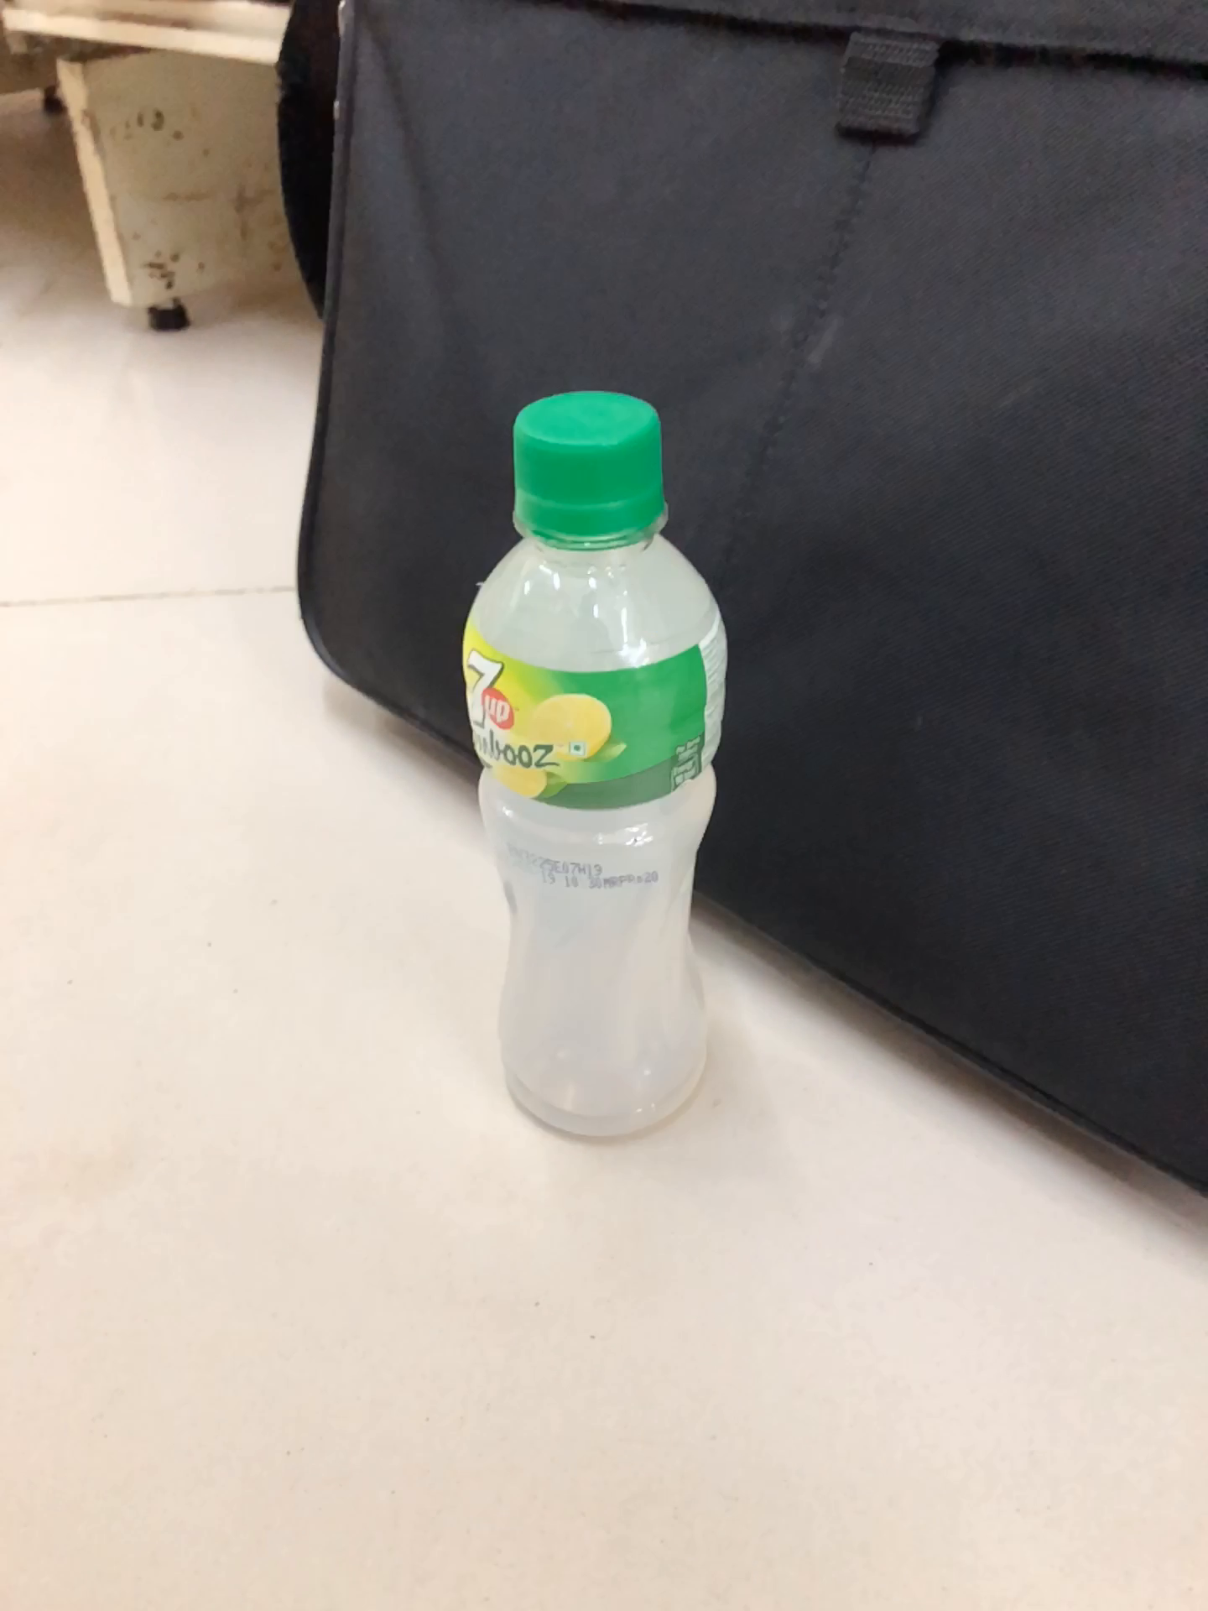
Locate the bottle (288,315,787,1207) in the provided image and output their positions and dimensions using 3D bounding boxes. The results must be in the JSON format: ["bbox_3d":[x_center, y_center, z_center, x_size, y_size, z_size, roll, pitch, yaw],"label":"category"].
[{"bbox_3d":[-0.011,-0.006,0.320,0.070,0.189,0.070,-1,36,1],"label":"bottle"}]
